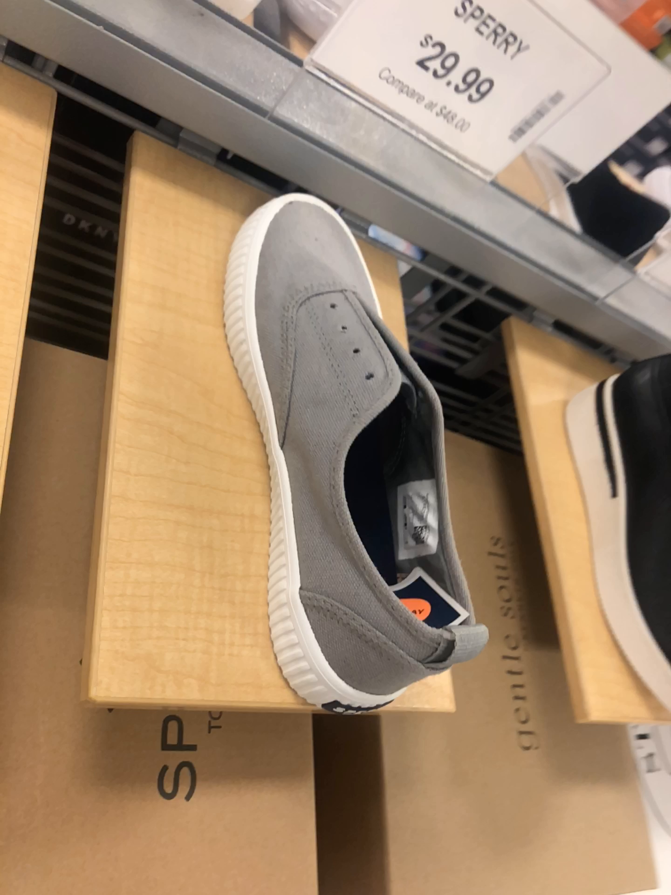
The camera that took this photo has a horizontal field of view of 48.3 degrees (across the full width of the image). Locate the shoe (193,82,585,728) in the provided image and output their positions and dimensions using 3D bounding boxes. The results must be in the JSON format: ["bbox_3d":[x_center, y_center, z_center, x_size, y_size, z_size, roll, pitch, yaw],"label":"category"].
[{"bbox_3d":[0.012,-0.020,0.330,0.098,0.081,0.251,9,61,-40],"label":"shoe"}]
